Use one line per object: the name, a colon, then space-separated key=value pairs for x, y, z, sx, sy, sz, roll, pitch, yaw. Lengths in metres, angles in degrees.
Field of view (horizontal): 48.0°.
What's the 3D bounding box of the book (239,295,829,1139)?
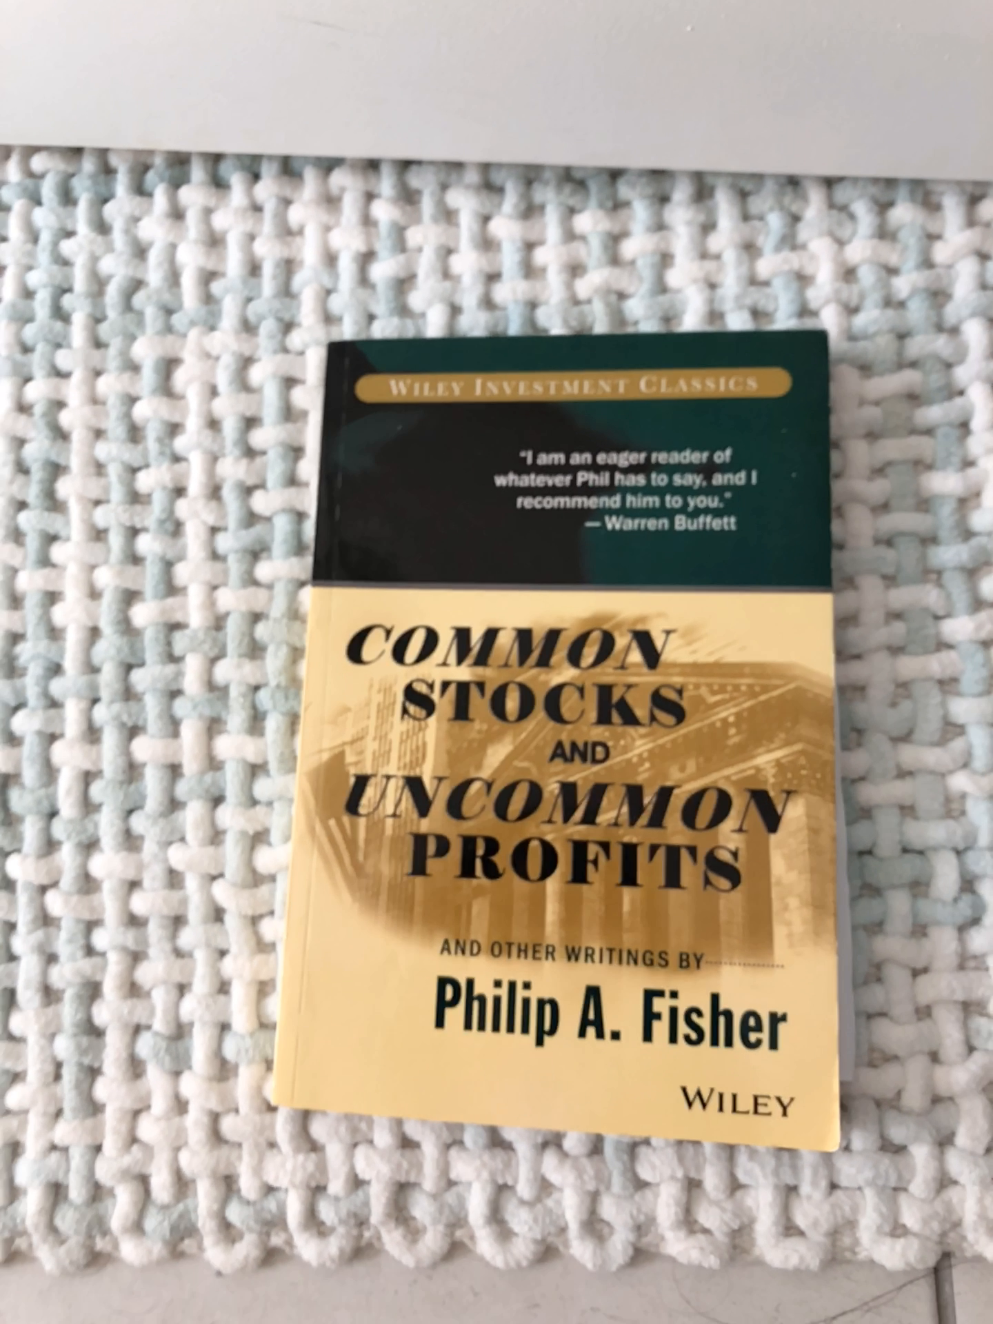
book: x=0.015 y=0.008 z=0.348 sx=0.166 sy=0.027 sz=0.247 roll=1 pitch=80 yaw=8
